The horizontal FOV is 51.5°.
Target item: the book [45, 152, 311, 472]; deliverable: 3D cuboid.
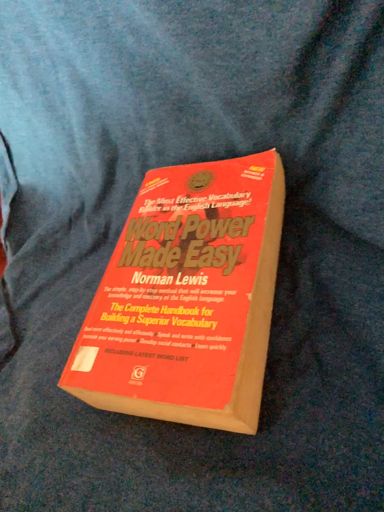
[{"bbox_3d":[0.003,0.021,0.268,0.120,0.050,0.191,3,58,25],"label":"book"}]
